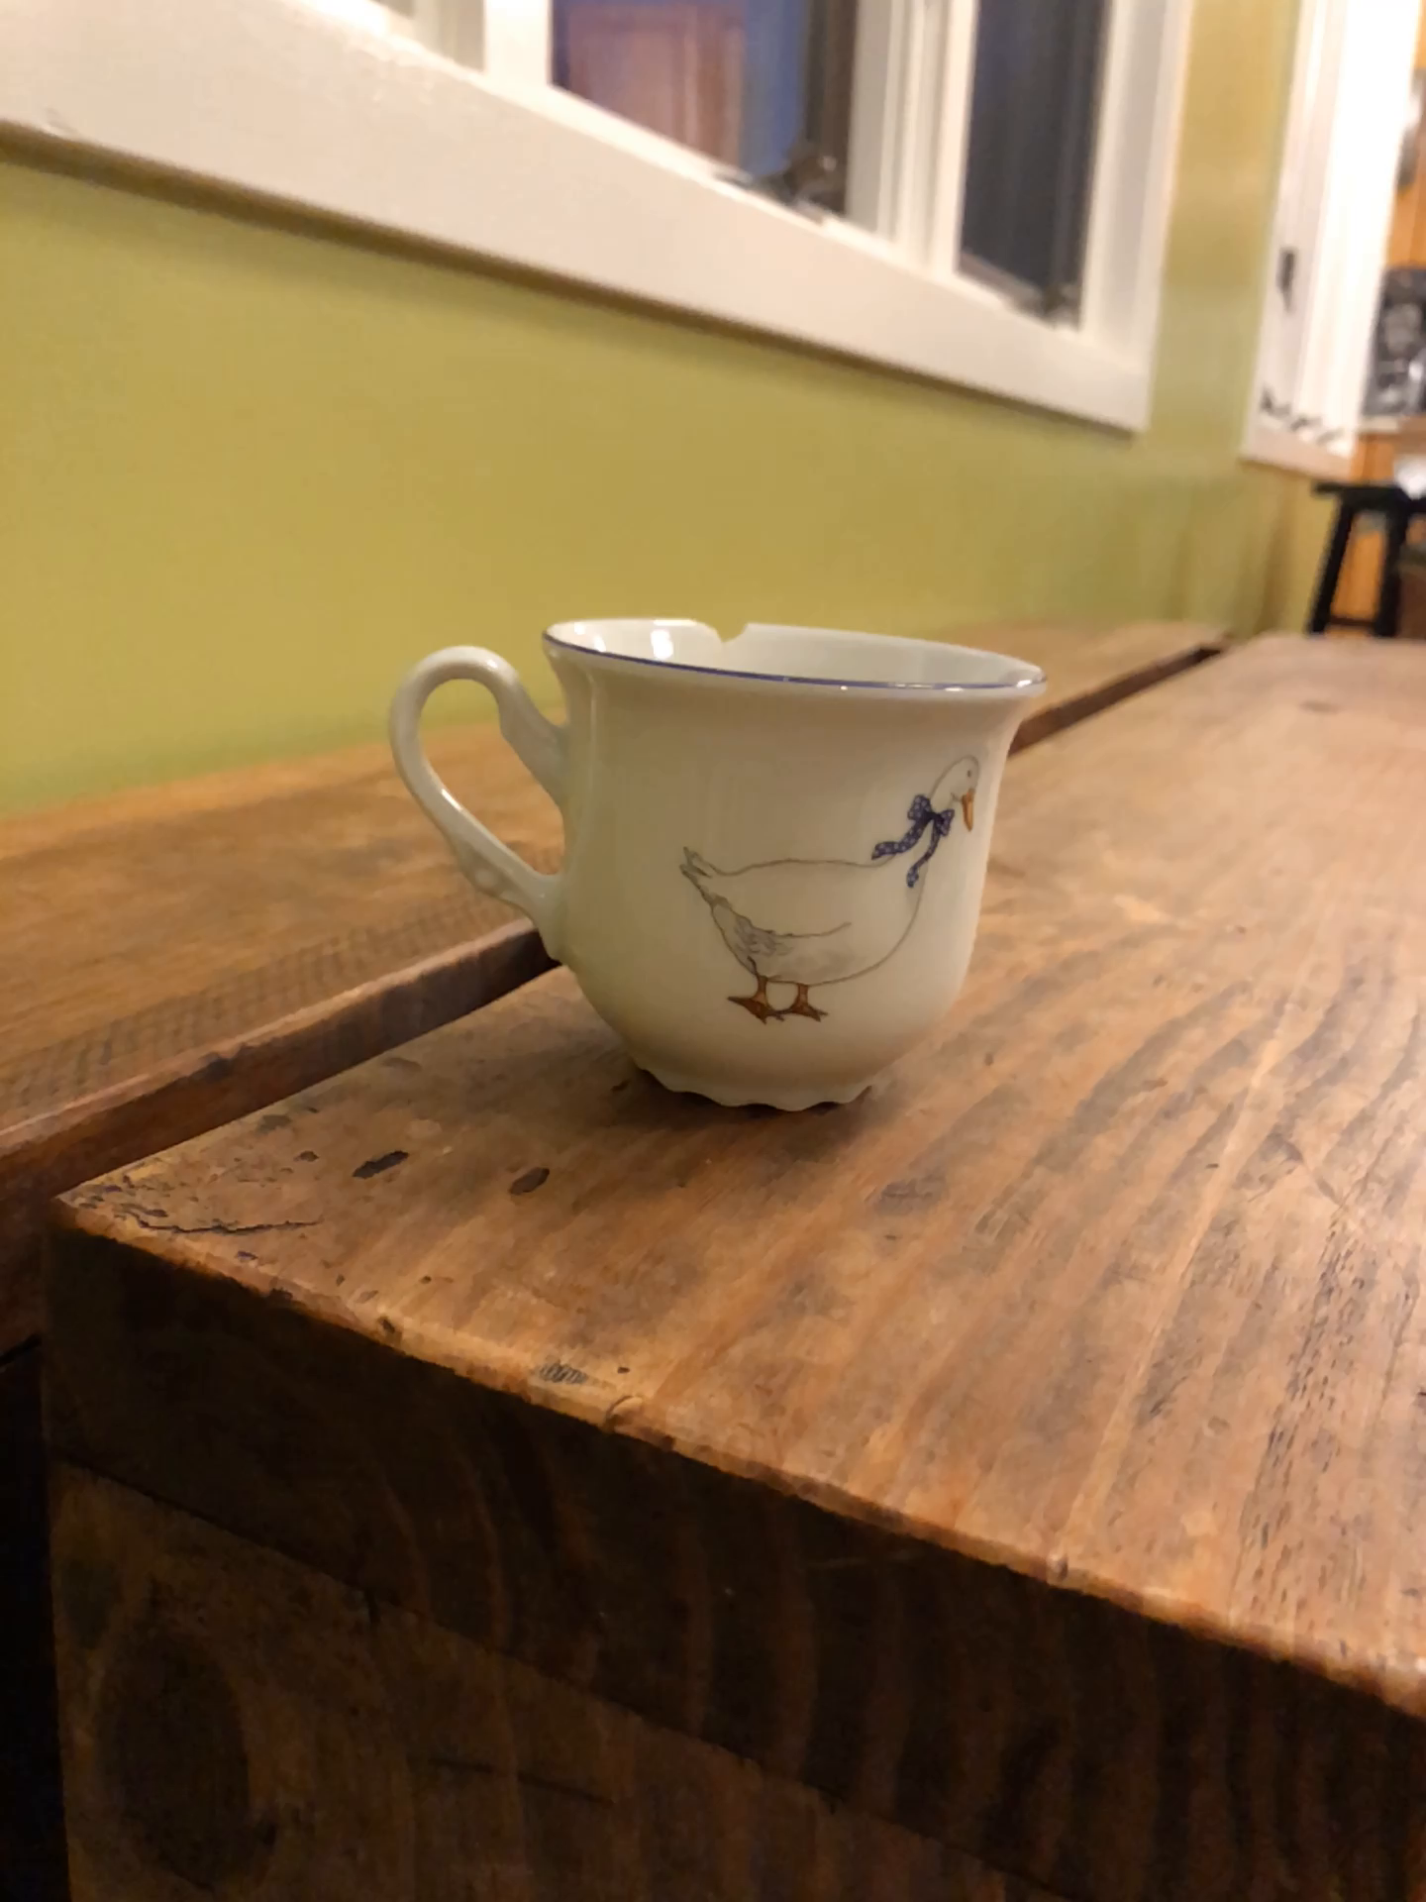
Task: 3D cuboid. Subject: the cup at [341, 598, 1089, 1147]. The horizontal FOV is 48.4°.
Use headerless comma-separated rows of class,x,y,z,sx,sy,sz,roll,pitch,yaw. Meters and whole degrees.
cup,0.001,-0.020,0.279,0.107,0.067,0.091,5,18,4
